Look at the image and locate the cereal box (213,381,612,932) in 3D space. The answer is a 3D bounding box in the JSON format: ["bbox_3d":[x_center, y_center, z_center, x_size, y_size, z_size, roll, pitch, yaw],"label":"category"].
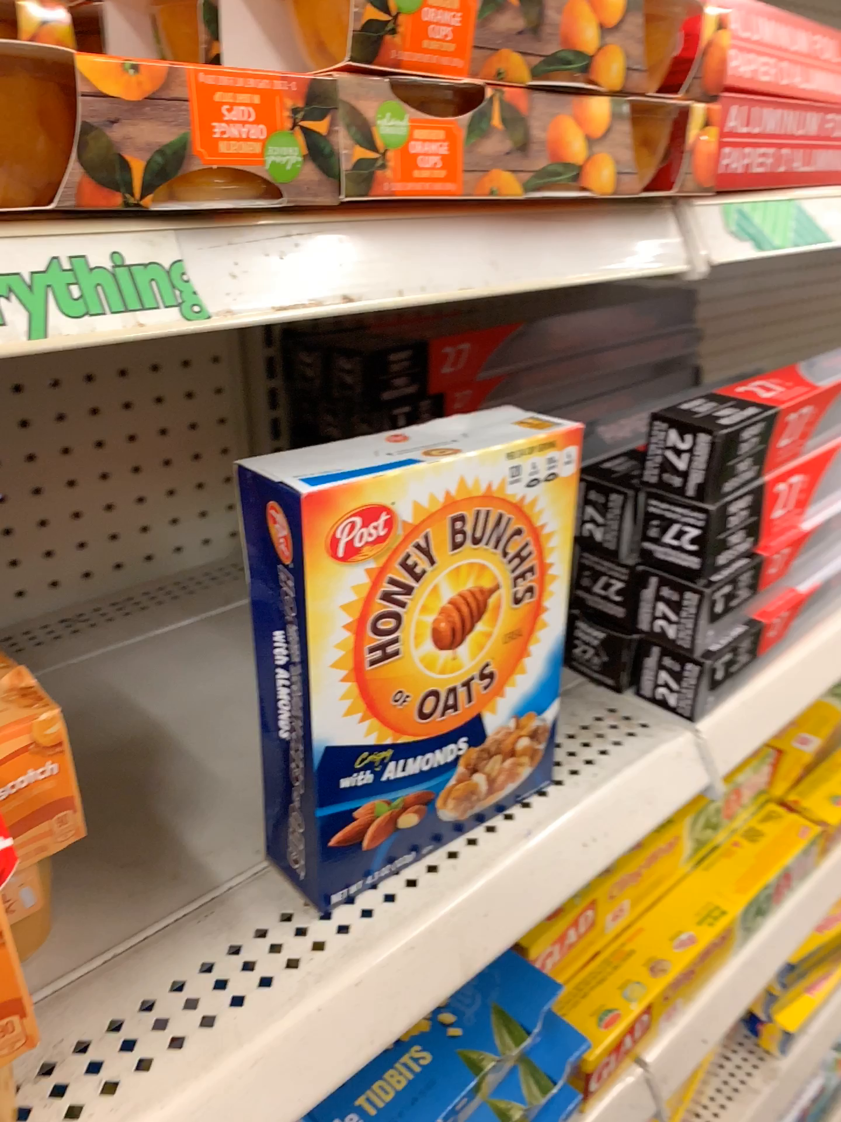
[{"bbox_3d":[0.003,0.034,0.368,0.150,0.189,0.050,-18,29,-33],"label":"cereal box"}]
